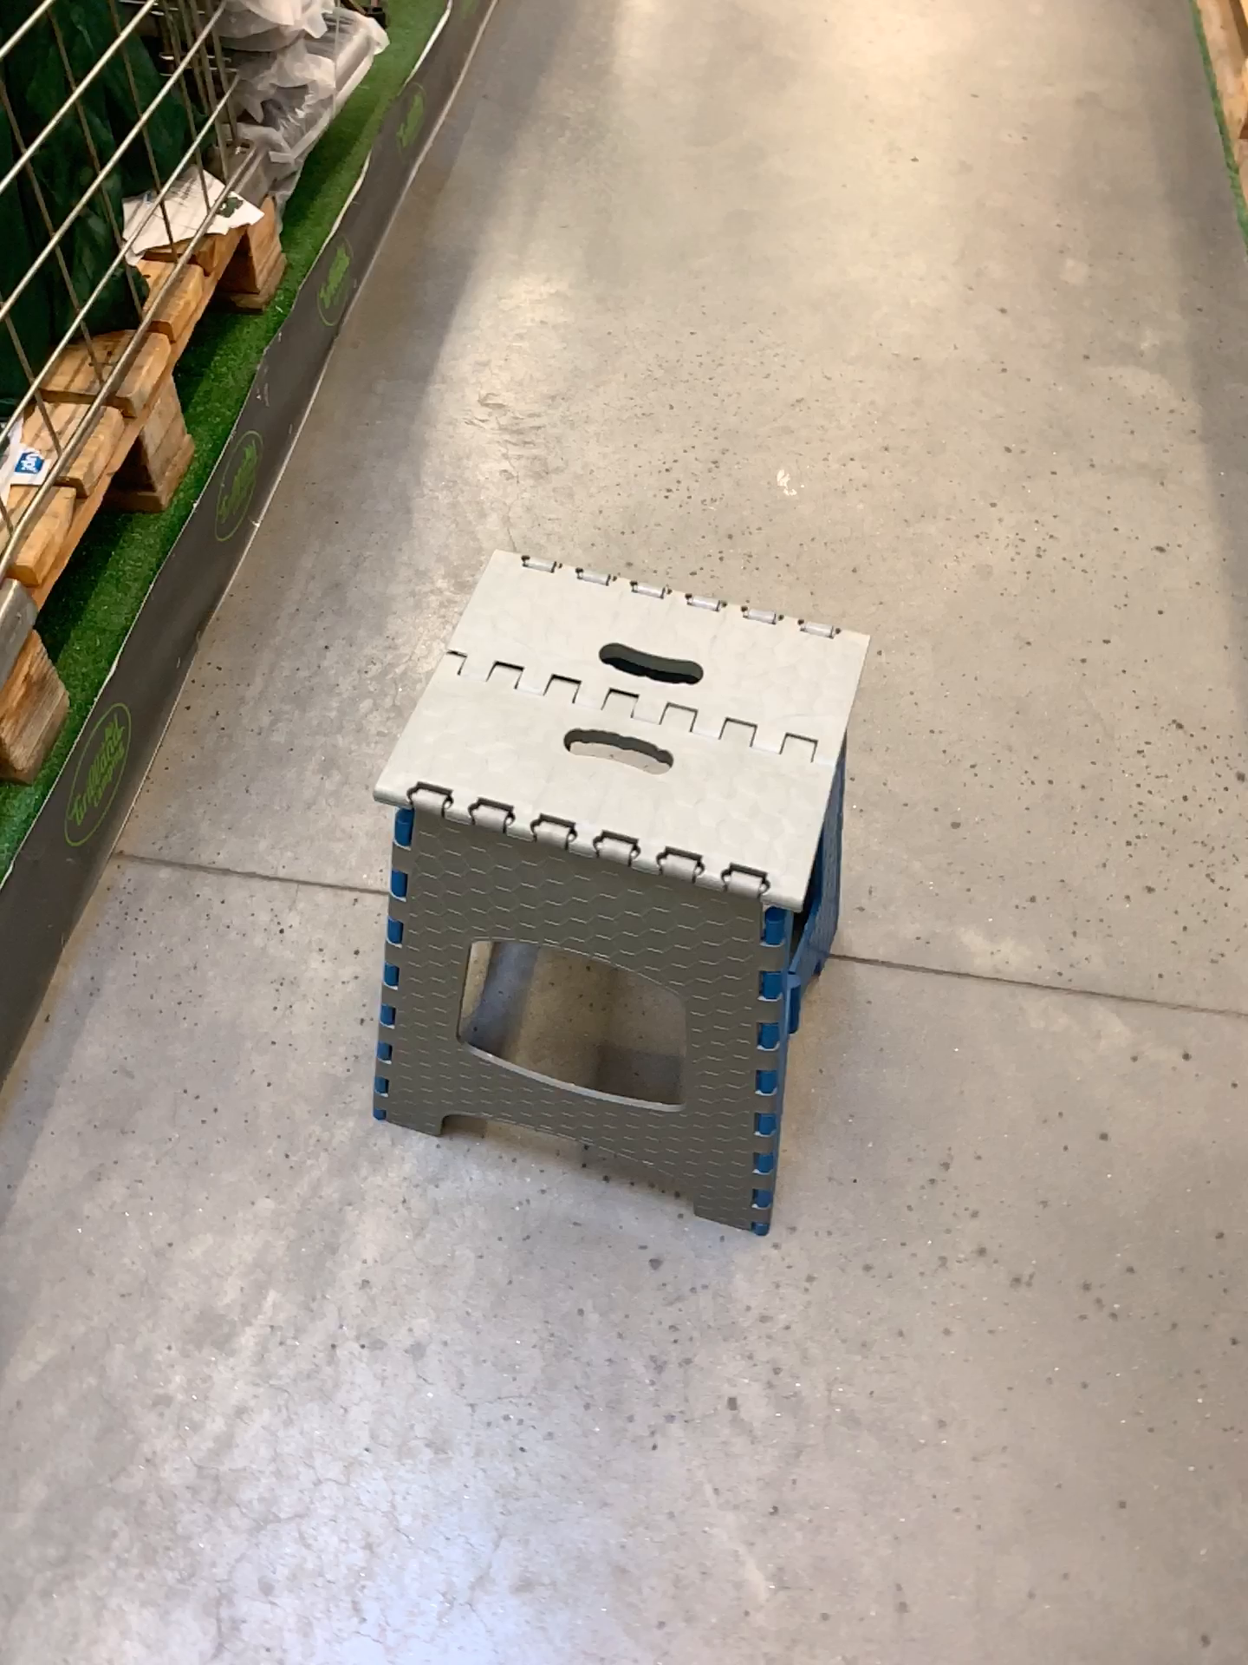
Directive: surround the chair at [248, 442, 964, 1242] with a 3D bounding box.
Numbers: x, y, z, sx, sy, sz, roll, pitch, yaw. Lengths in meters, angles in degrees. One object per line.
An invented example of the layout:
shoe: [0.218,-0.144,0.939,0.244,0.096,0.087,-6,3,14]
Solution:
chair: [0.002,0.023,0.941,0.350,0.419,0.341,15,56,8]
